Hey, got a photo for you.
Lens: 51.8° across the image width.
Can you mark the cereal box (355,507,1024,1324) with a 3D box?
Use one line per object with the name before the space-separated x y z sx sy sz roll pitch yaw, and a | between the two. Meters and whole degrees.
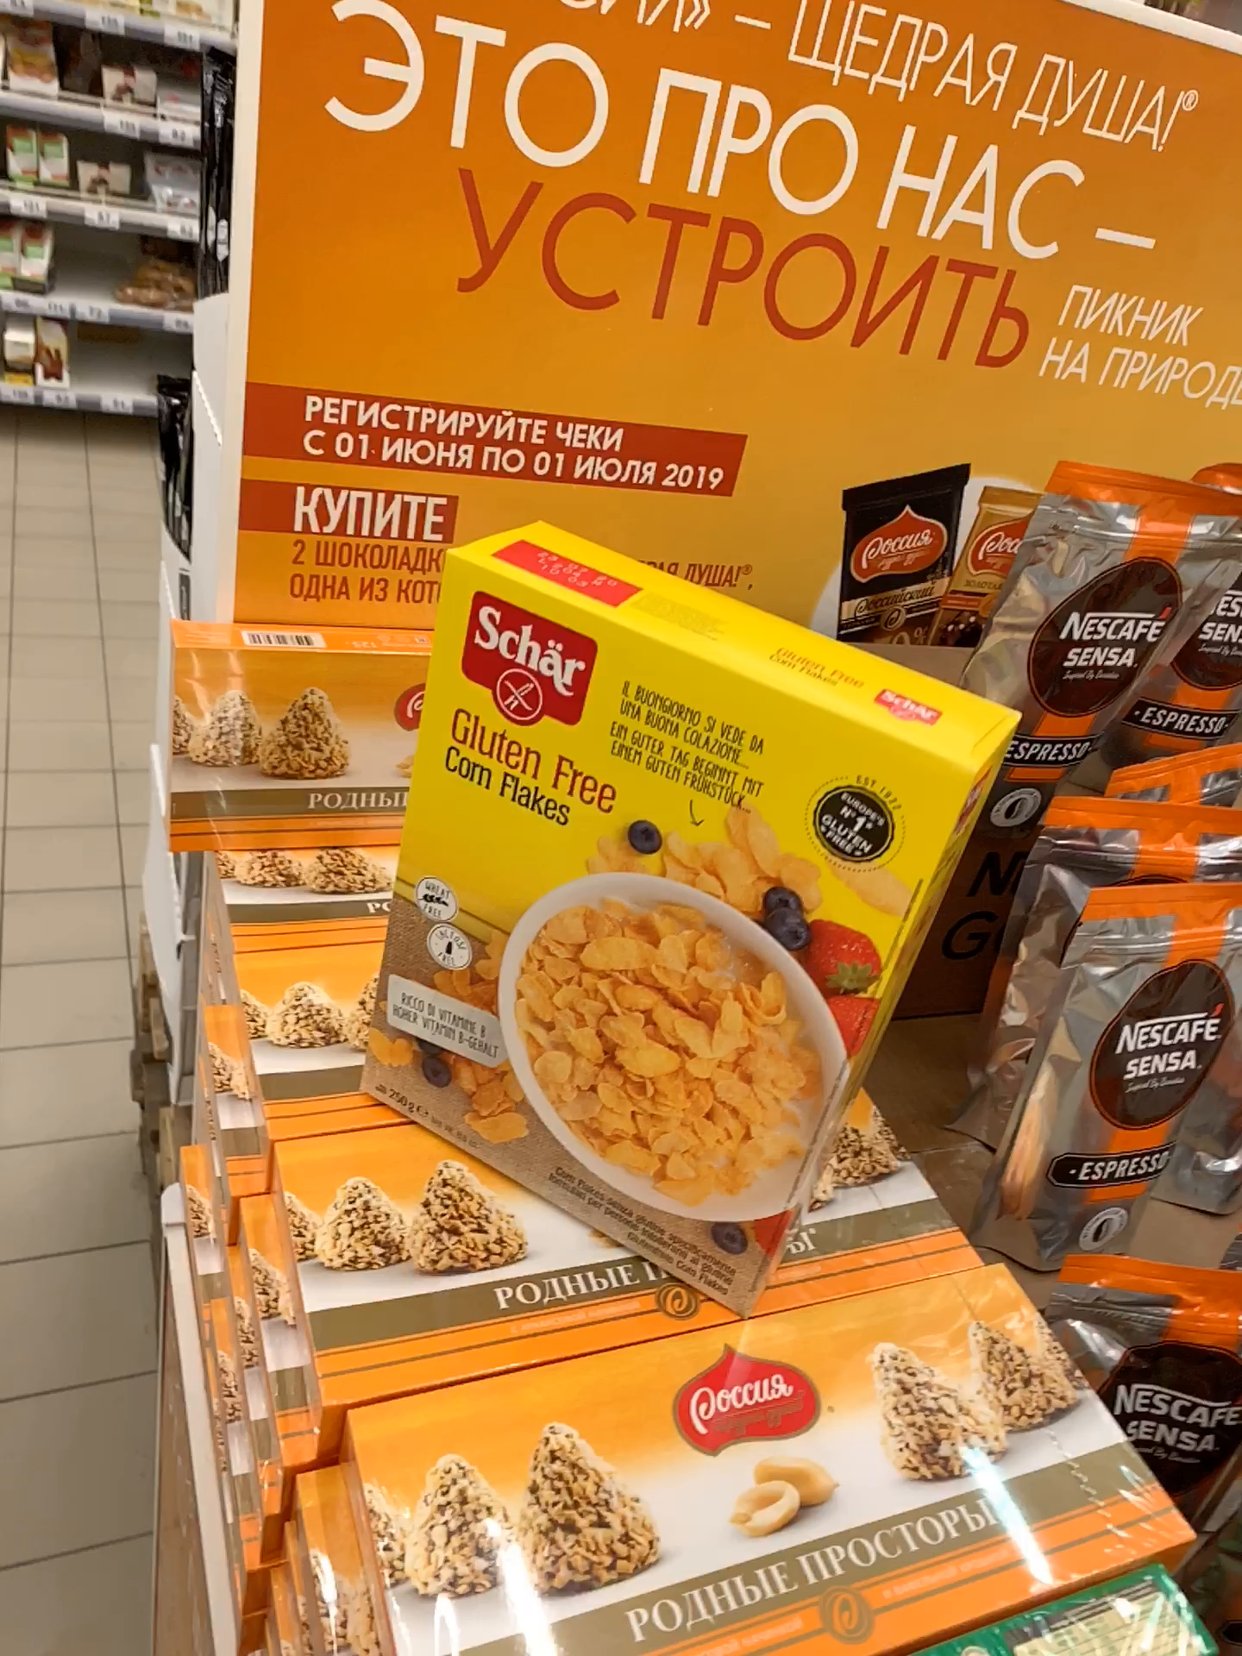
cereal box | 0.007 0.038 0.498 0.200 0.258 0.060 25 33 18
